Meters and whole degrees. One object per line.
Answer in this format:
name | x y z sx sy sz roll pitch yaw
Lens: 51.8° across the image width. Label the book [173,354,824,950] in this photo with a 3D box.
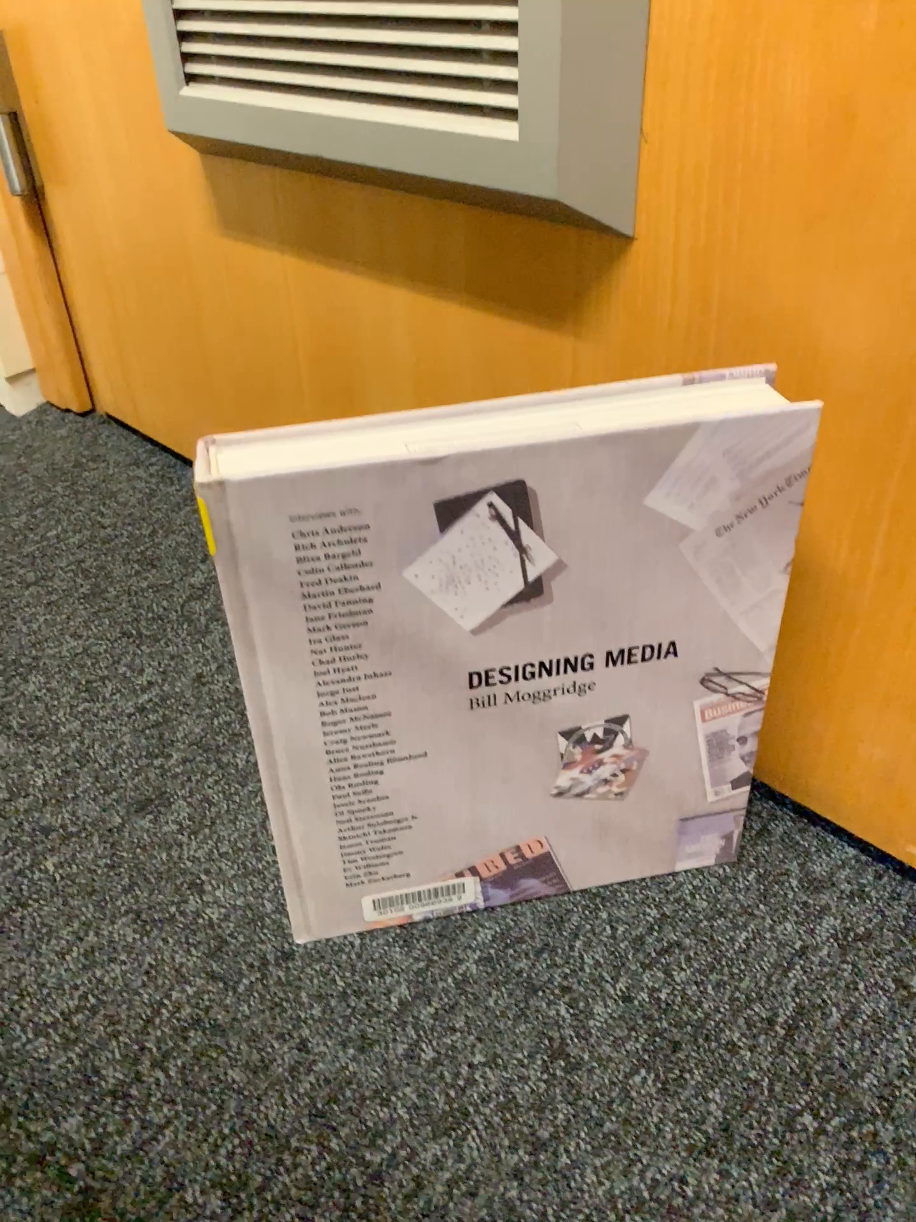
book | 0.018 0.028 0.378 0.210 0.231 0.040 -9 36 -9
